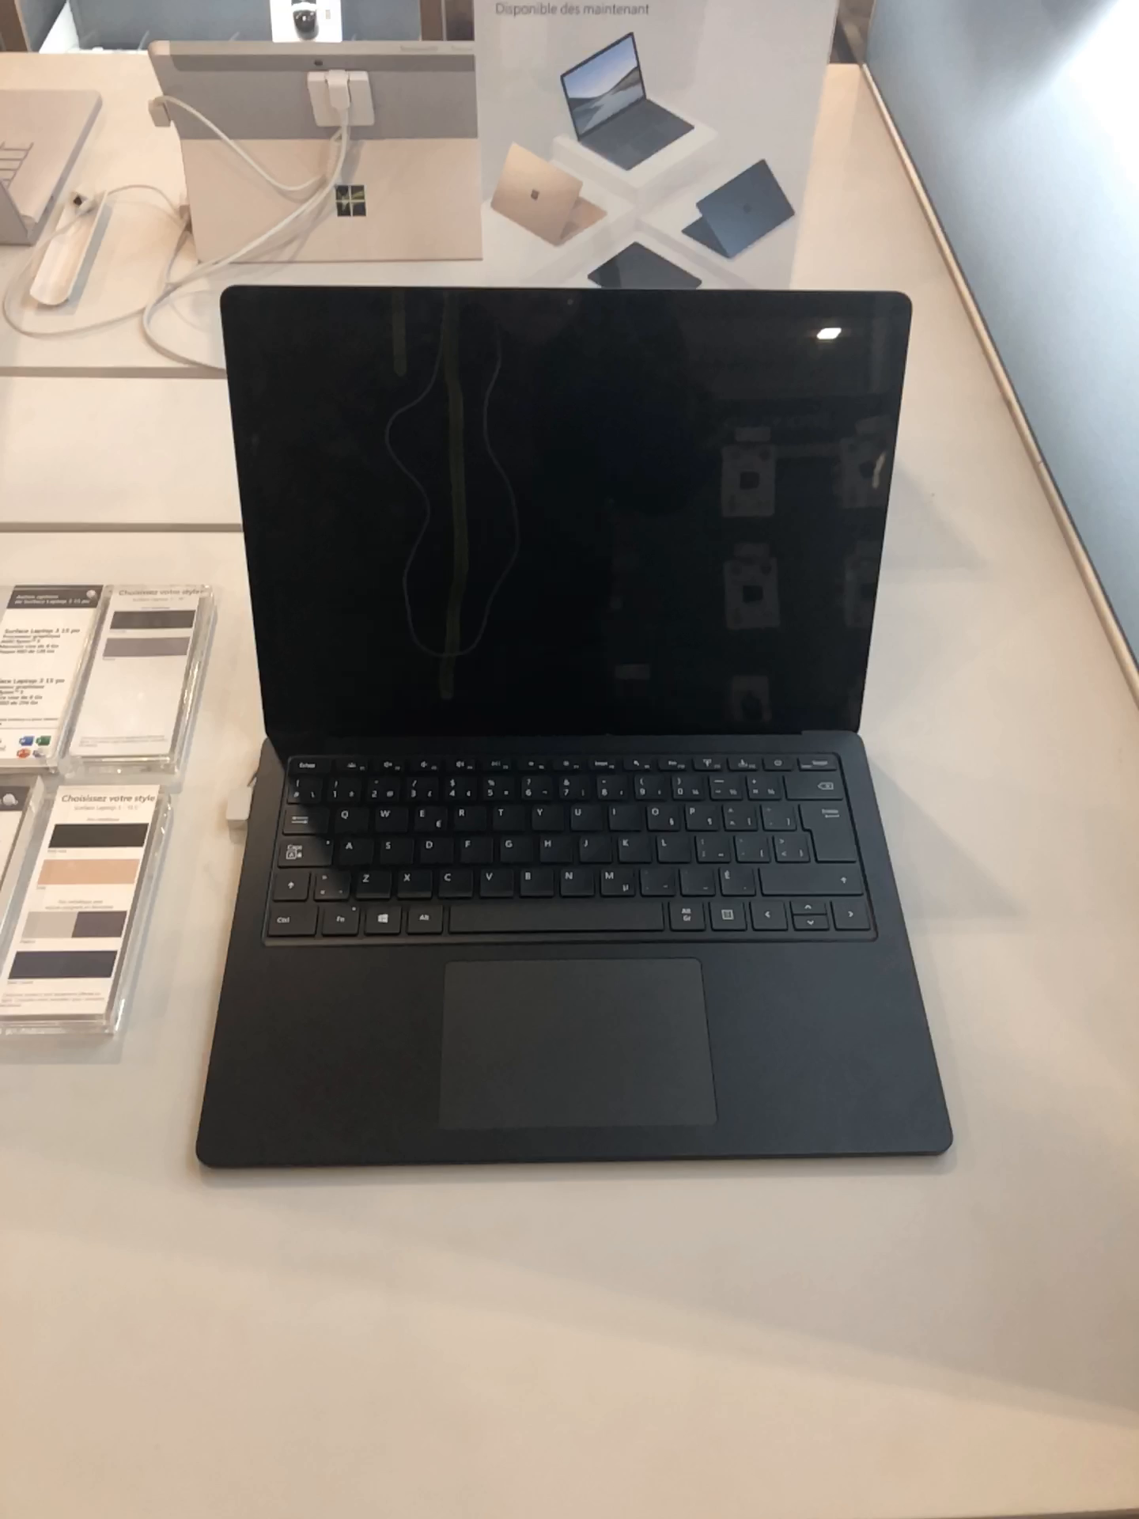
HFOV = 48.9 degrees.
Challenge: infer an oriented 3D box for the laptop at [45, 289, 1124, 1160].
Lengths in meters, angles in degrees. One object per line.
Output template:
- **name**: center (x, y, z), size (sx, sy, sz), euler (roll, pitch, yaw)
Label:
- **laptop**: center (0.001, -0.026, 0.534), size (0.308, 0.197, 0.314), euler (0, 50, -3)
